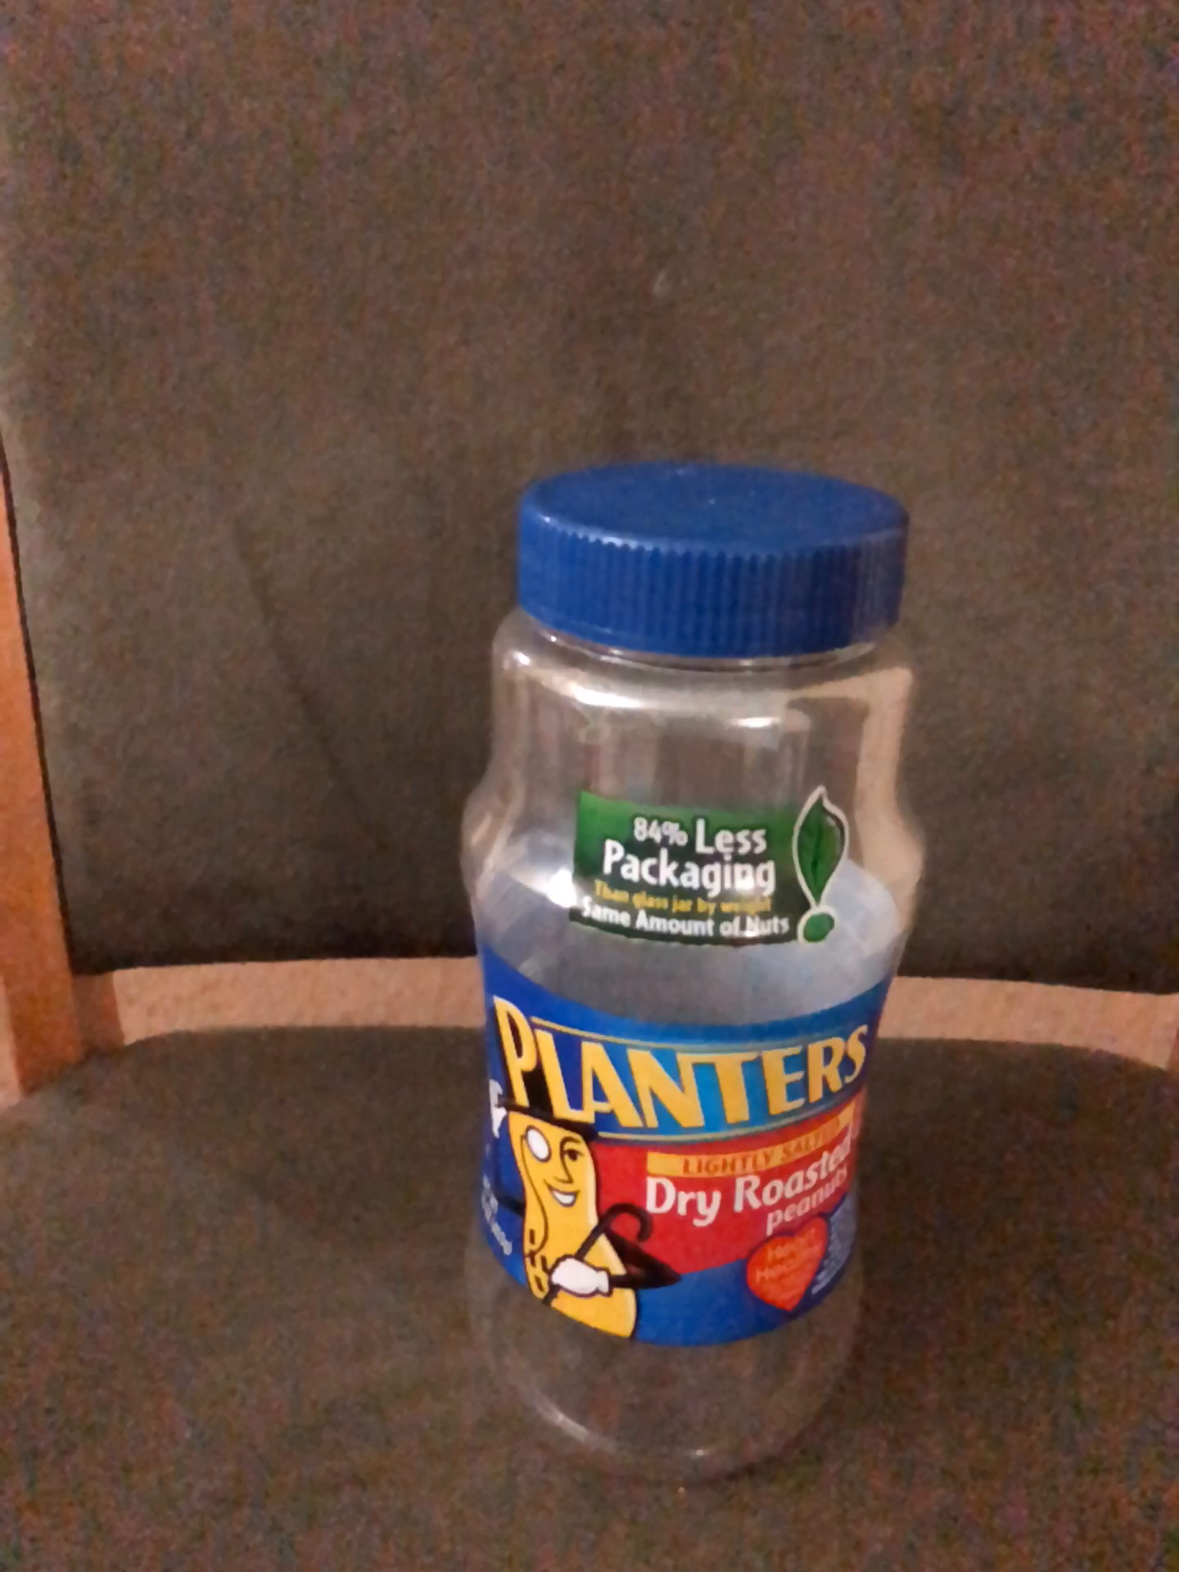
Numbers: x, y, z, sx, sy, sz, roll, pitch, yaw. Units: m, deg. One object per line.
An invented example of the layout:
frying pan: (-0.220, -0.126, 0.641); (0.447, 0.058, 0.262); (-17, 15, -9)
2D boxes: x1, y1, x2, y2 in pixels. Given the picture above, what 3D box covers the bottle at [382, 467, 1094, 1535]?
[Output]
bottle: (0.019, 0.038, 0.238); (0.090, 0.170, 0.080); (3, 25, 3)
